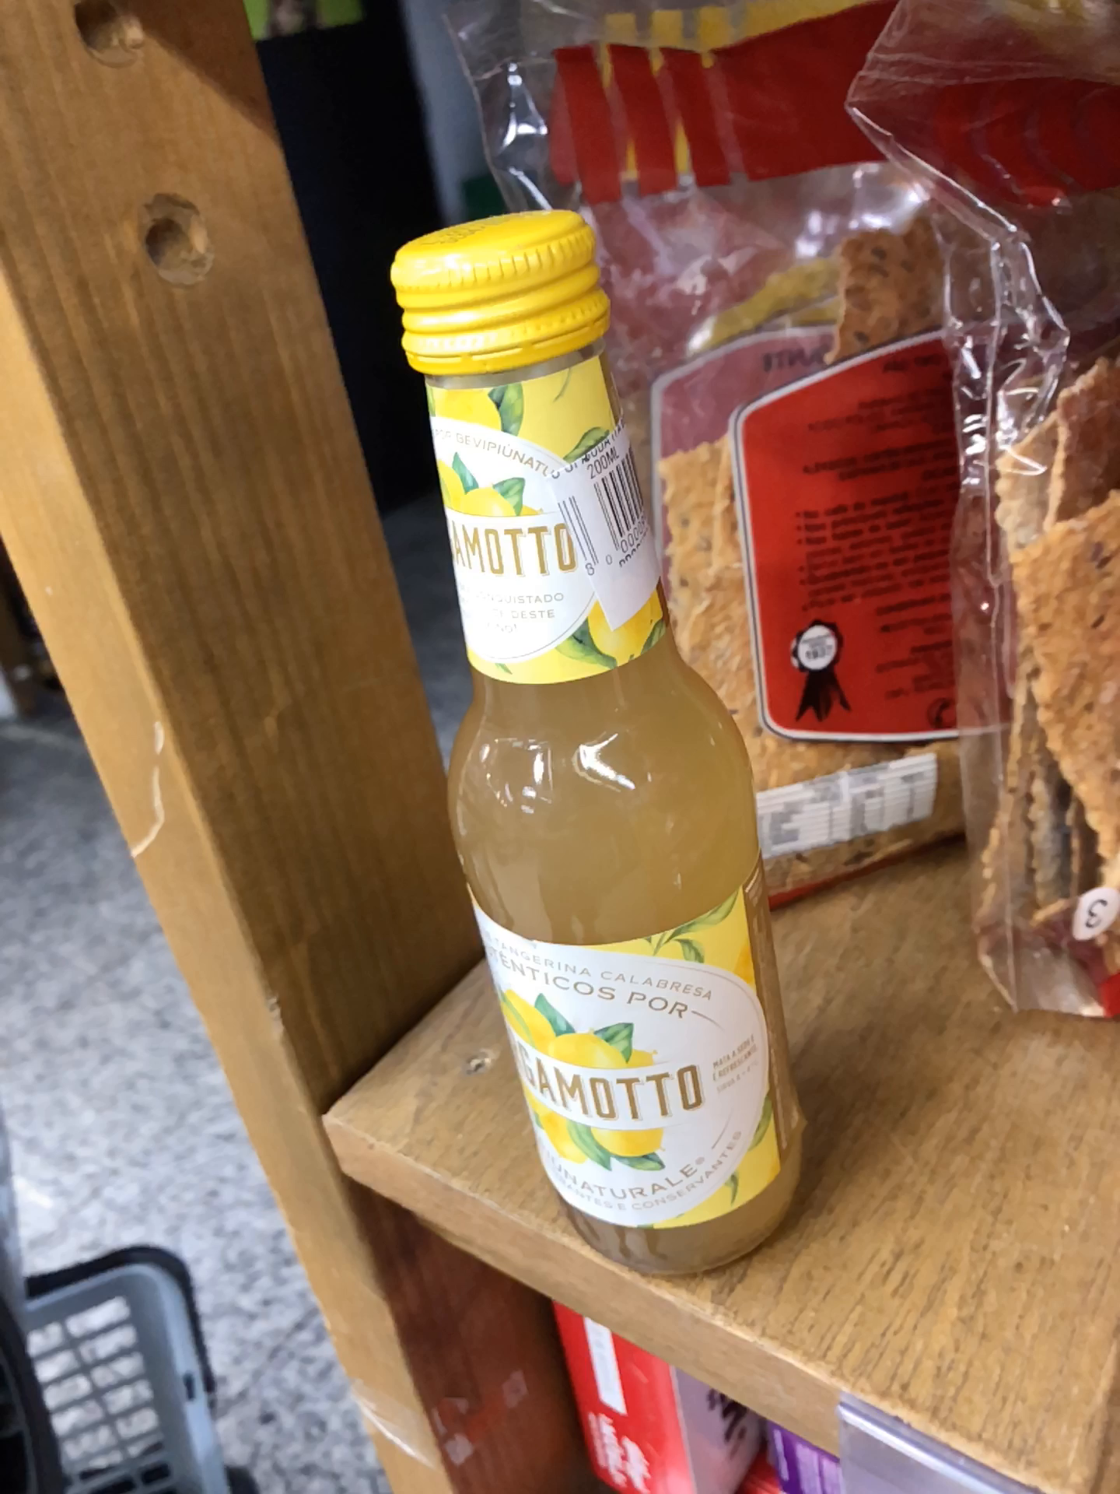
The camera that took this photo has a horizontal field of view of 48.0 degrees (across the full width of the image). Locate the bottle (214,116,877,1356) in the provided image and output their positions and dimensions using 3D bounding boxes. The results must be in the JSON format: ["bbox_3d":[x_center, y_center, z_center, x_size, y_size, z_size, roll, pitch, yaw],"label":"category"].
[{"bbox_3d":[0.011,0.007,0.220,0.060,0.198,0.060,-8,30,5],"label":"bottle"}]
